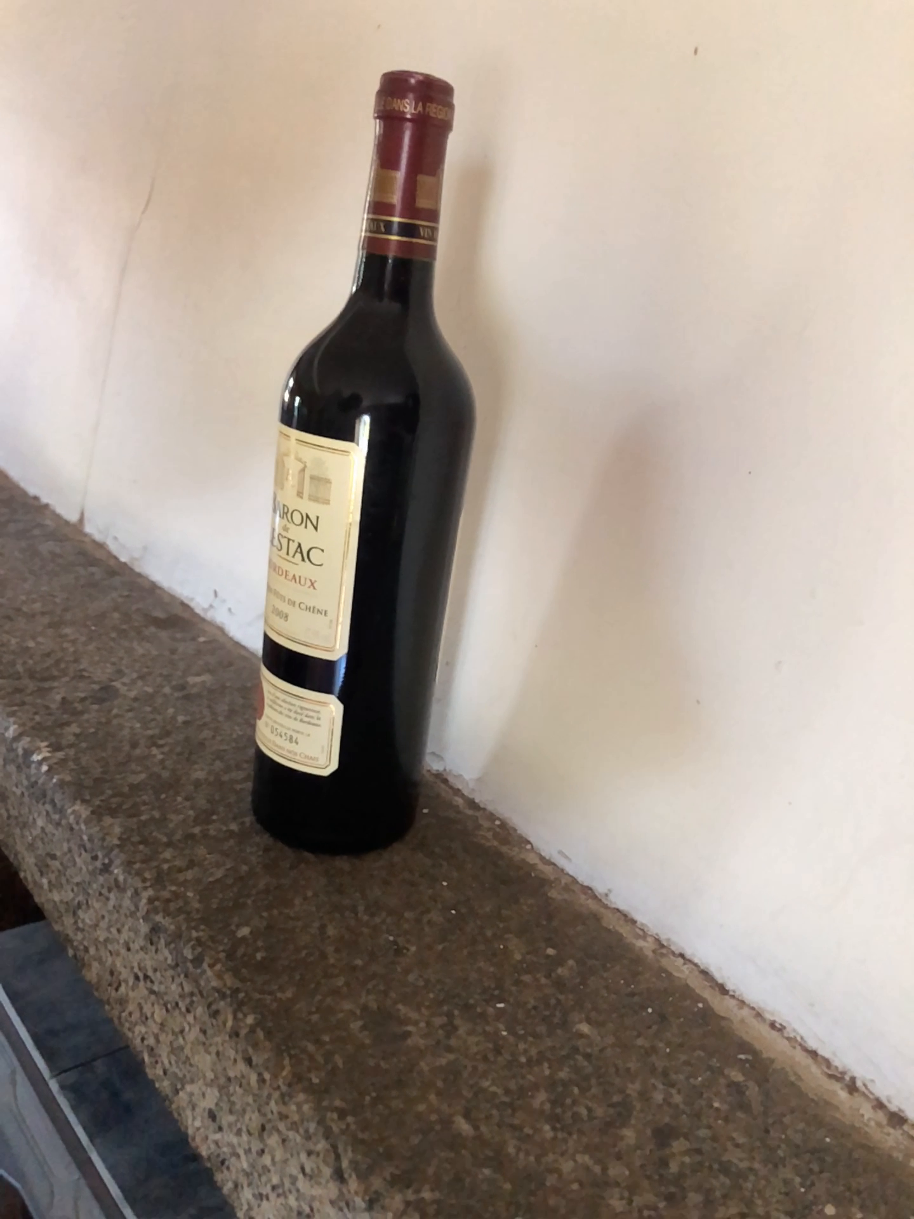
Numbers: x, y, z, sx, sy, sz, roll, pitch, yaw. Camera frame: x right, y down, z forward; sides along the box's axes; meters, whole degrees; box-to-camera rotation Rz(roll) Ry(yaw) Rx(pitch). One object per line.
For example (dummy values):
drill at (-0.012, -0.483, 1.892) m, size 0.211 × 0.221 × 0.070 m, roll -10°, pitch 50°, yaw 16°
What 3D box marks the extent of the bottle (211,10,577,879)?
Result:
bottle at (-0.032, -0.051, 0.374) m, size 0.070 × 0.279 × 0.080 m, roll -4°, pitch 20°, yaw -38°
